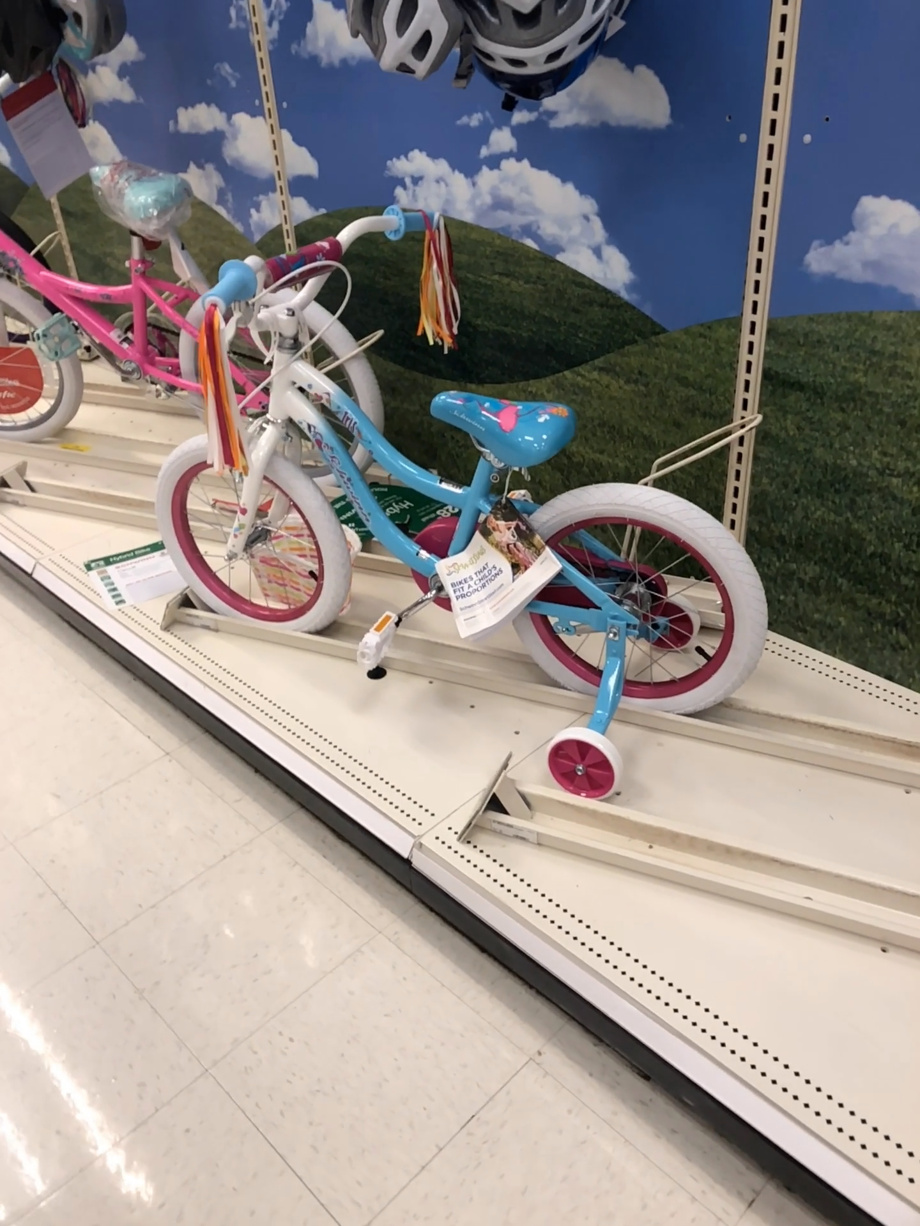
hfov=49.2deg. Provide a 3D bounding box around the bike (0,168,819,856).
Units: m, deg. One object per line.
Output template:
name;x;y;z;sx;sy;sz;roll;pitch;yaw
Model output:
bike;-0.062;-0.233;1.591;1.091;0.723;0.535;12;36;21
